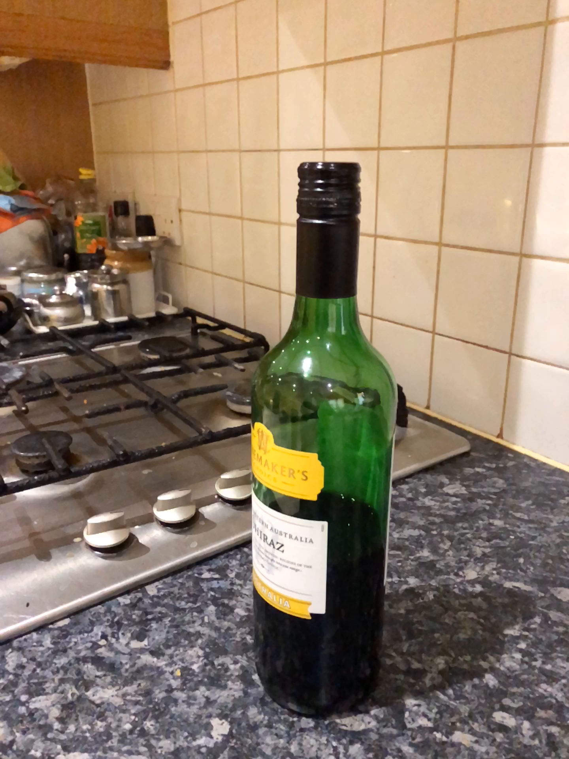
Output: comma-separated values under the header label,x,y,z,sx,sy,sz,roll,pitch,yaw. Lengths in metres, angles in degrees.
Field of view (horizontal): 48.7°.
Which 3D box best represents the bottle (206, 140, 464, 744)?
label,x,y,z,sx,sy,sz,roll,pitch,yaw
bottle,0.021,0.029,0.319,0.080,0.278,0.080,0,18,0
